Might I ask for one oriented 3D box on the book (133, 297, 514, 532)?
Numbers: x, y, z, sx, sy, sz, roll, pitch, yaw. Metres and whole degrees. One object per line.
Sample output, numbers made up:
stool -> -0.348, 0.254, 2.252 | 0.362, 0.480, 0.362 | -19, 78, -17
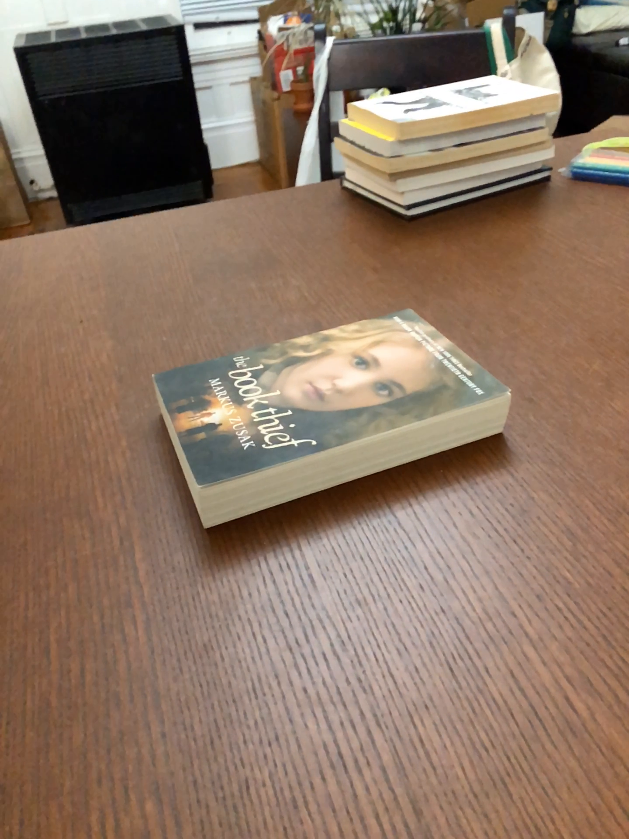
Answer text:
book -> -0.001, -0.016, 0.481 | 0.220, 0.030, 0.151 | -16, 37, -14
